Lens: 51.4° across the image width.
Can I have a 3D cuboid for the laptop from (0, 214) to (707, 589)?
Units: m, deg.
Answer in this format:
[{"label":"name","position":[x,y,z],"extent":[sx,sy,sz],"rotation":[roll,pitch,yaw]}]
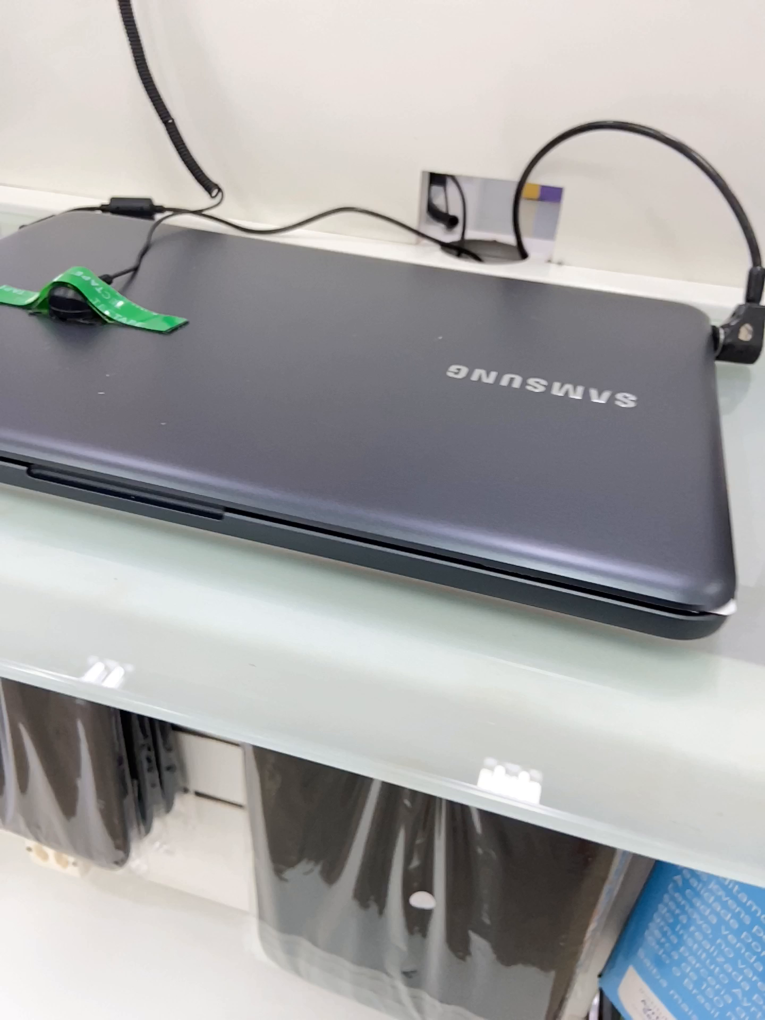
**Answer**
[{"label":"laptop","position":[-0.046,-0.077,0.345],"extent":[0.350,0.001,0.234],"rotation":[12,36,12]}]
